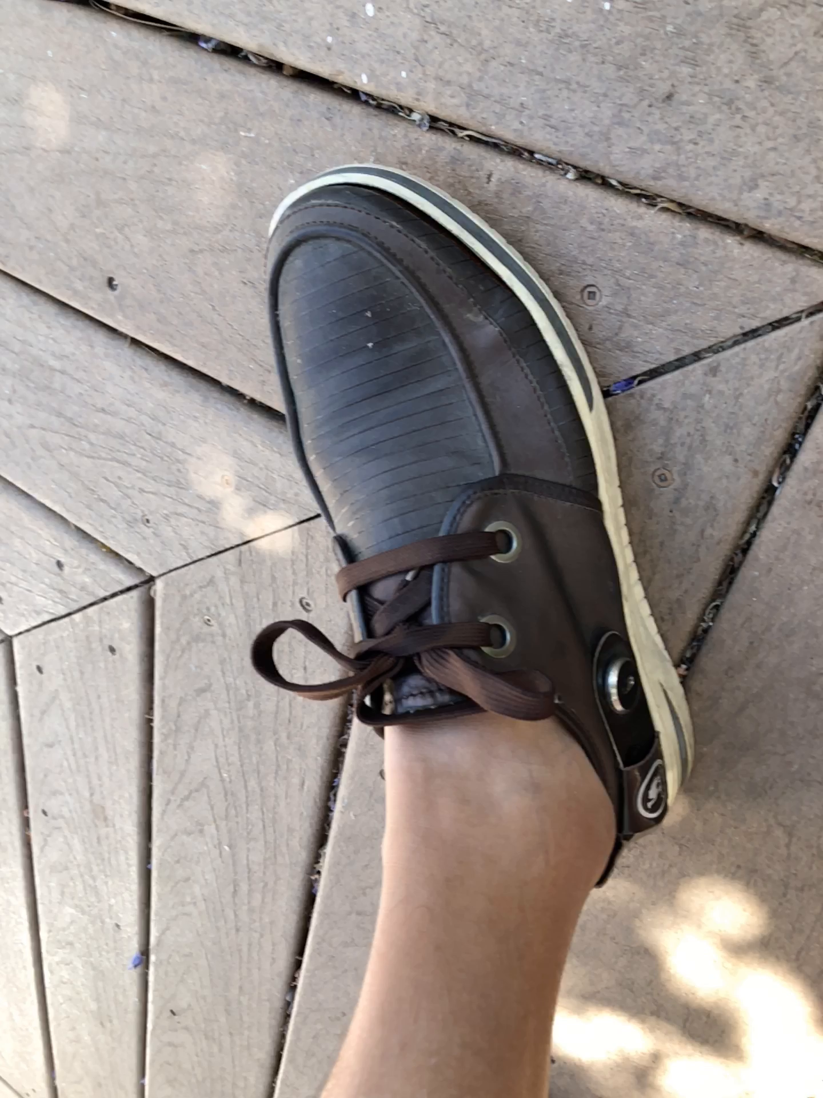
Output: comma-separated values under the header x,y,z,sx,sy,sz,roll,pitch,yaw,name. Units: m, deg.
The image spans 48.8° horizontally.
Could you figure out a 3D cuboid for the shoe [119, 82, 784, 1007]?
x,y,z,sx,sy,sz,roll,pitch,yaw,name
0.027,0.006,0.326,0.107,0.096,0.289,-12,107,39,shoe
